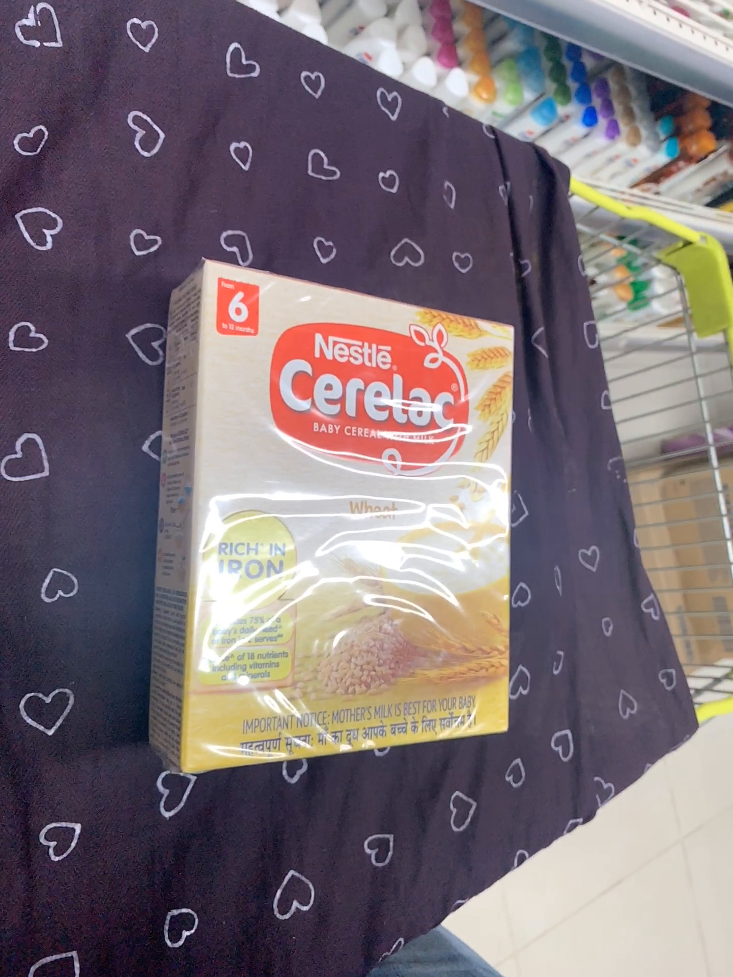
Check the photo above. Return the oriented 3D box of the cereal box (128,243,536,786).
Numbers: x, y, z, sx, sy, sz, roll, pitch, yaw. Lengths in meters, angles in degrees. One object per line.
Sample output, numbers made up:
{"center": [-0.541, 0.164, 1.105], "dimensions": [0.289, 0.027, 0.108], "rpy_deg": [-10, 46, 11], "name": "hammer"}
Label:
{"center": [-0.006, 0.011, 0.276], "dimensions": [0.140, 0.040, 0.160], "rpy_deg": [4, 85, -31], "name": "cereal box"}
